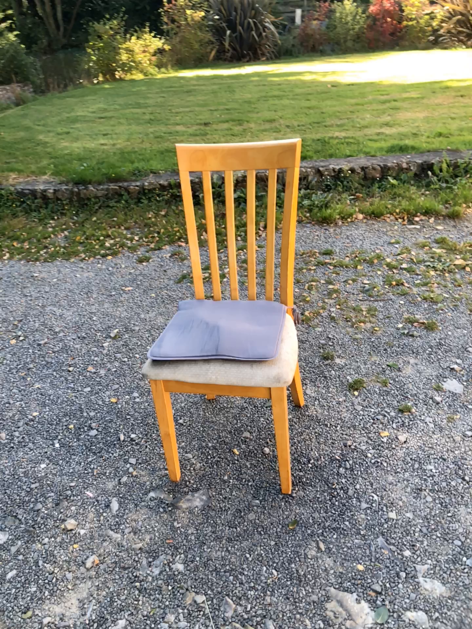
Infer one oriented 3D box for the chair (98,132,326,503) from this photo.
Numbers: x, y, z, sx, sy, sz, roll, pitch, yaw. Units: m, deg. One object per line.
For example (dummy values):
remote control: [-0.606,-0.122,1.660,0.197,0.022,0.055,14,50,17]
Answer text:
chair: [0.007,-0.010,1.670,0.510,0.994,0.614,3,30,11]
